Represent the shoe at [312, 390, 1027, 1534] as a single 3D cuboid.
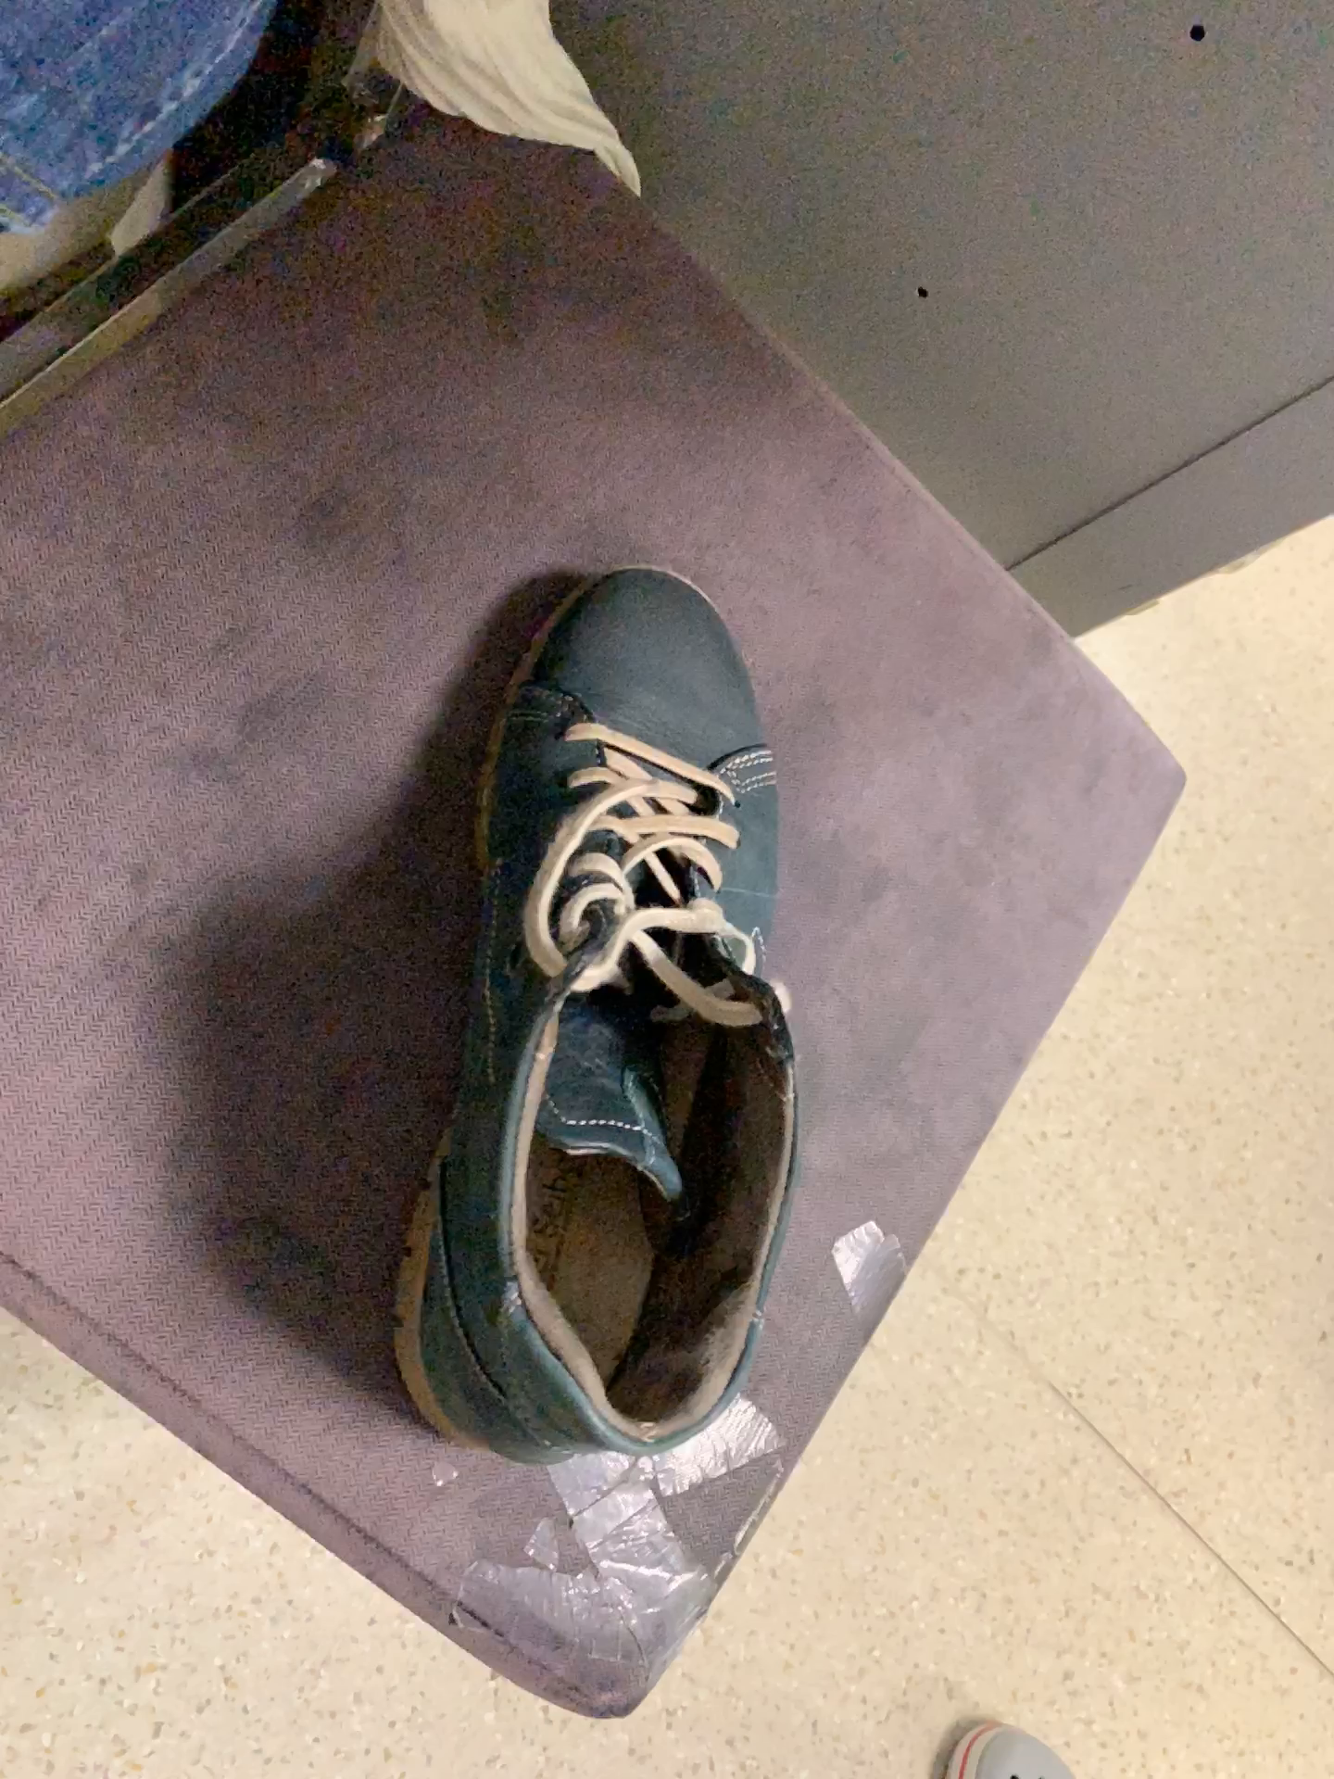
[{"bbox_3d":[-0.002,0.023,0.376,0.103,0.143,0.245,18,72,-21],"label":"shoe"}]
